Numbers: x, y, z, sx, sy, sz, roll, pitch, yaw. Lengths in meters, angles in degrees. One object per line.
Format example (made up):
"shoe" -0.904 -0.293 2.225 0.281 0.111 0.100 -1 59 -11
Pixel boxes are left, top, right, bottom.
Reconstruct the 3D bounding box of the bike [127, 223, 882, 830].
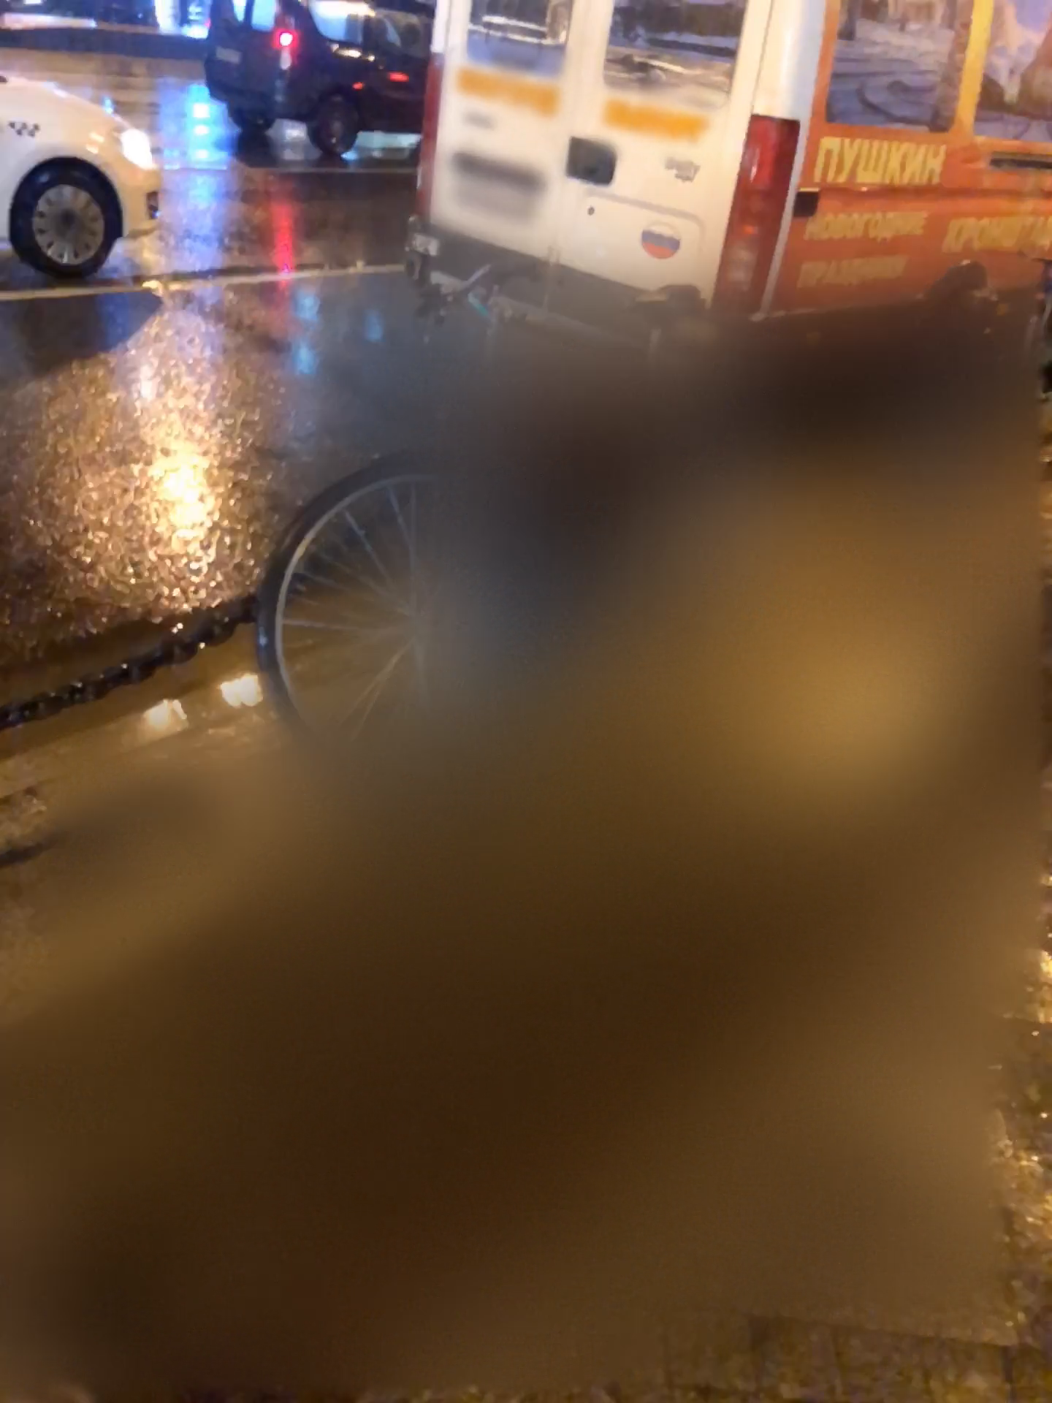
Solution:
"bike" 0.034 -0.547 2.757 1.754 0.961 0.554 -23 39 -40
